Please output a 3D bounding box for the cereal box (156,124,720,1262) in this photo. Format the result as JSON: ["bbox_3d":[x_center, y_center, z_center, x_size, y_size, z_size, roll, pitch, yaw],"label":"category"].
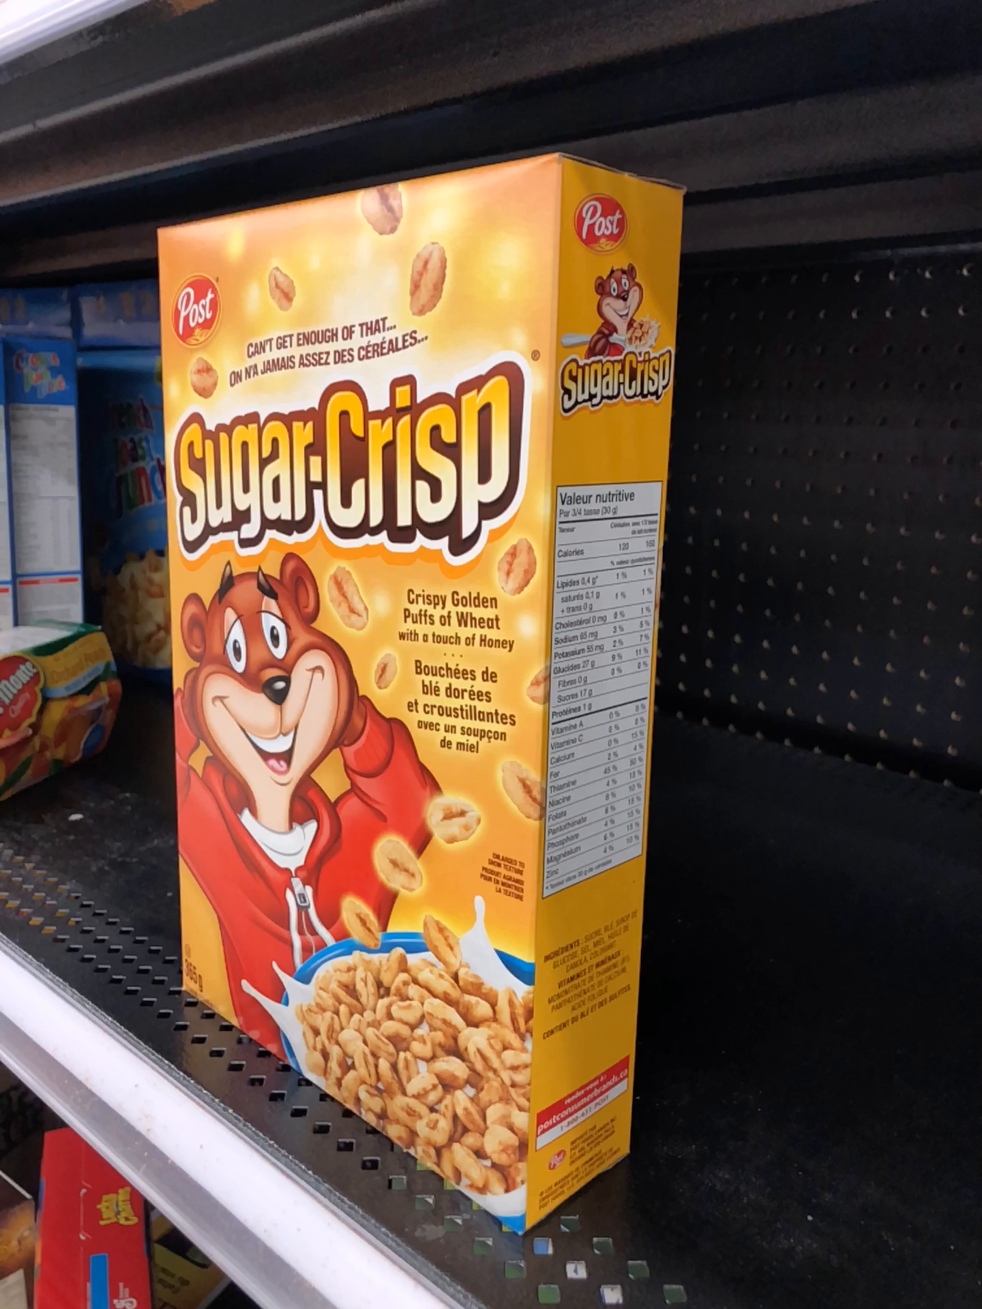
[{"bbox_3d":[-0.033,0.005,0.376,0.200,0.309,0.060,13,16,43],"label":"cereal box"}]
